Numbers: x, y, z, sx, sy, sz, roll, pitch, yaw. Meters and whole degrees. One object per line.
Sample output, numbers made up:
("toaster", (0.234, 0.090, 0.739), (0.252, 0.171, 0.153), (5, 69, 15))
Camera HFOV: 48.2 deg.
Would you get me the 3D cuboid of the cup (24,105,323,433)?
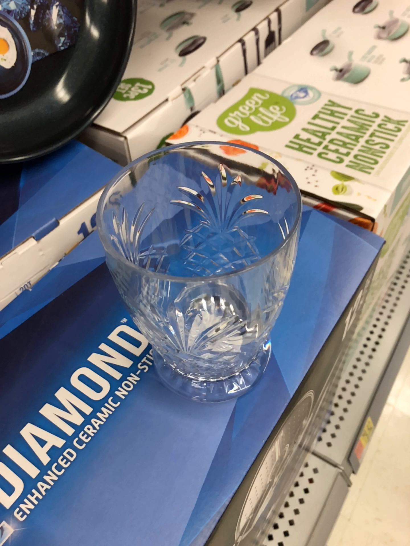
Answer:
("cup", (-0.007, -0.001, 0.231), (0.088, 0.113, 0.092), (-2, 50, 2))
